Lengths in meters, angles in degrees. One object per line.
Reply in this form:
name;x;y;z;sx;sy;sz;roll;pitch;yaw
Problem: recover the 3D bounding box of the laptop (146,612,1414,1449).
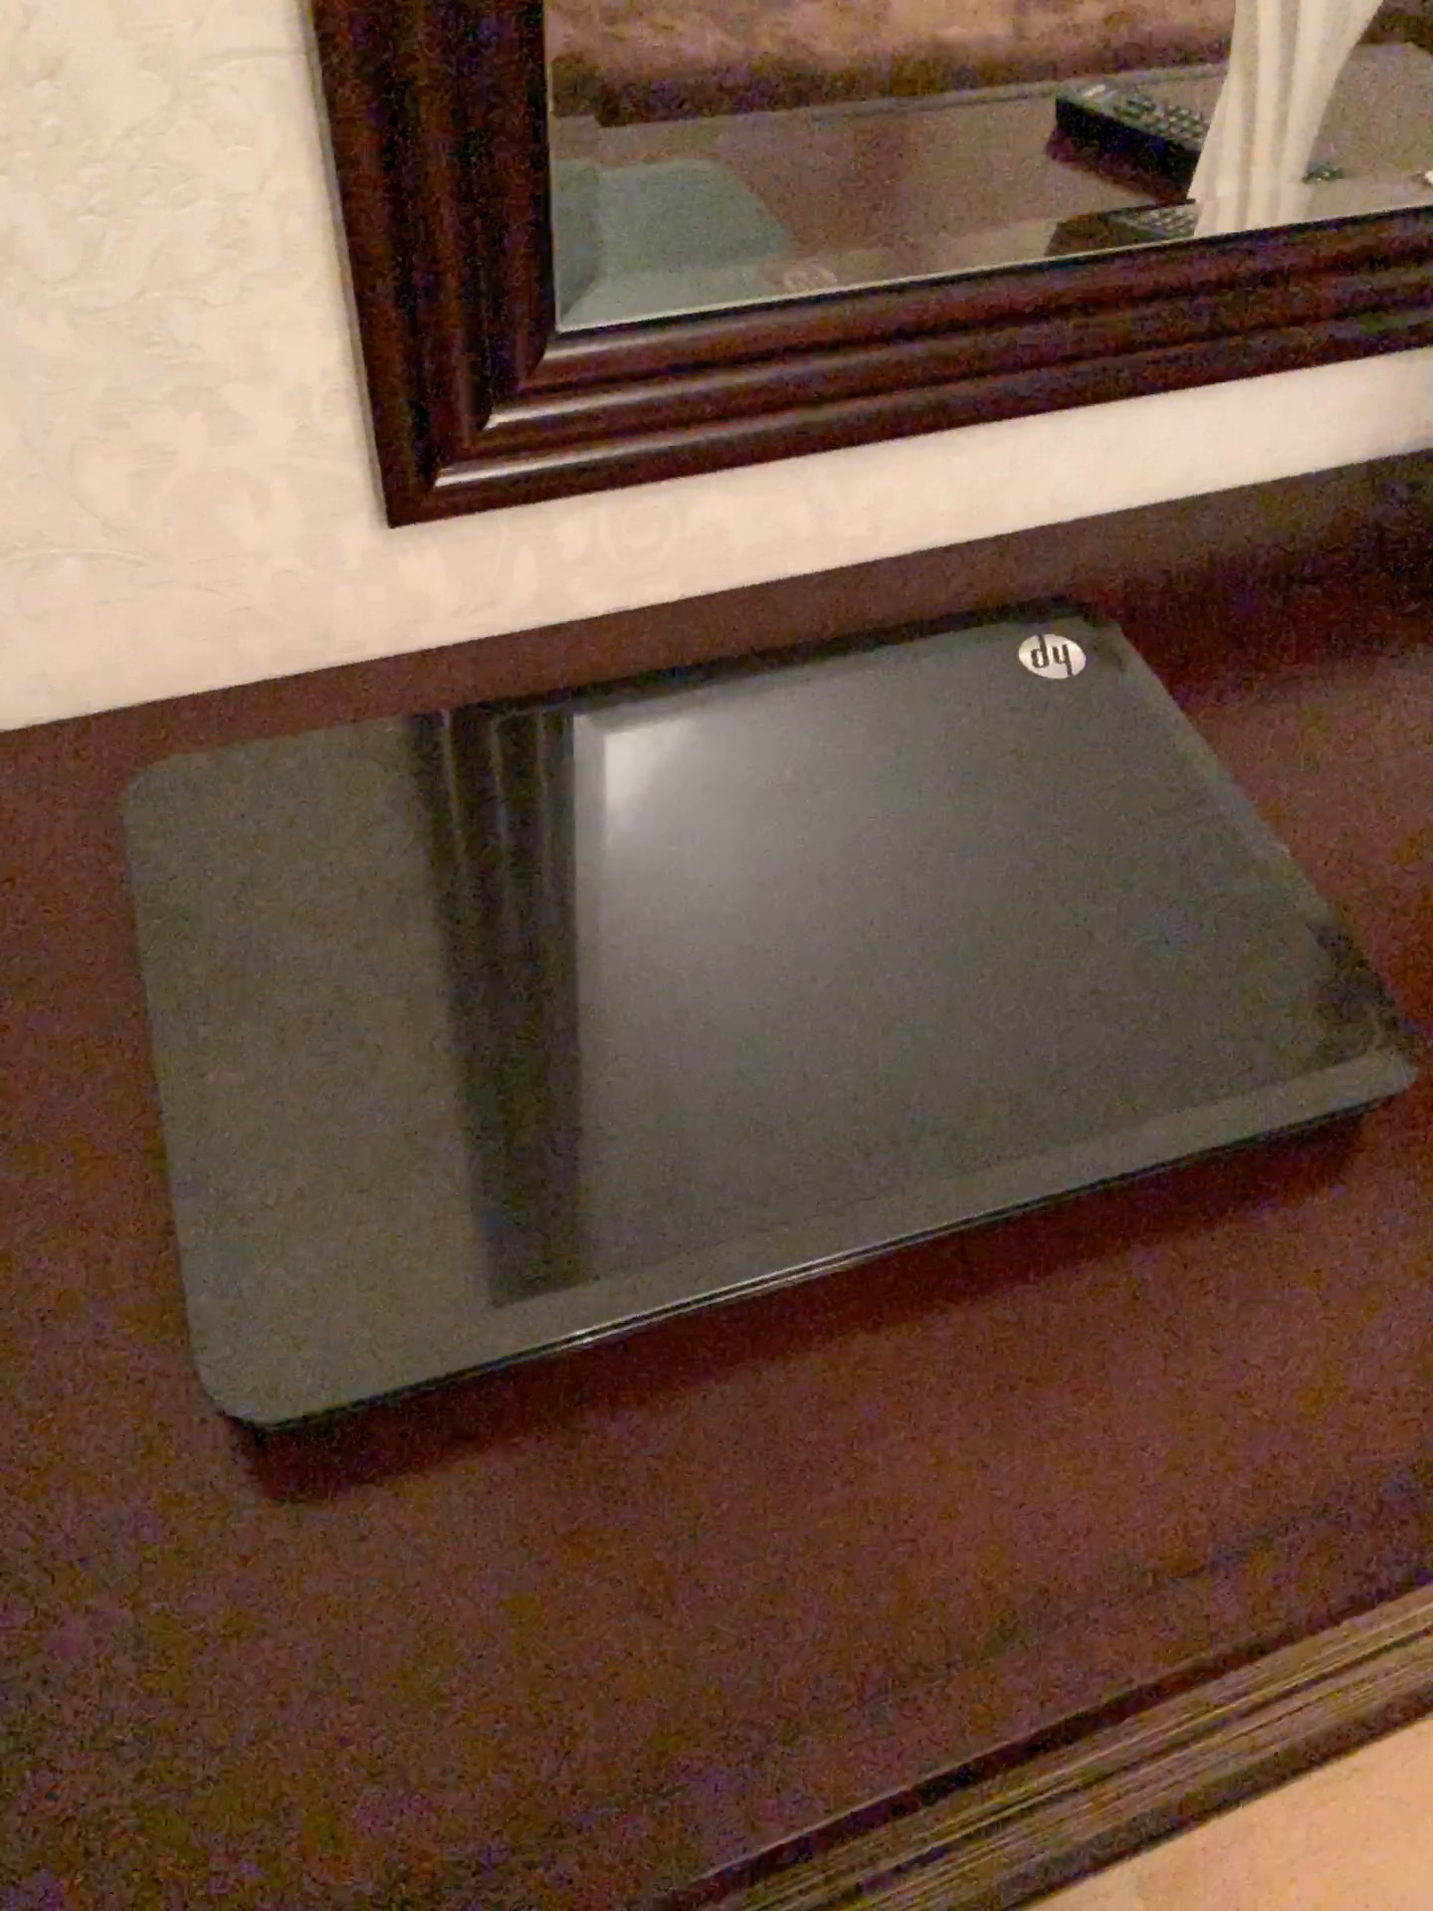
laptop;0.014;-0.009;0.457;0.341;0.007;0.224;-13;54;-17
